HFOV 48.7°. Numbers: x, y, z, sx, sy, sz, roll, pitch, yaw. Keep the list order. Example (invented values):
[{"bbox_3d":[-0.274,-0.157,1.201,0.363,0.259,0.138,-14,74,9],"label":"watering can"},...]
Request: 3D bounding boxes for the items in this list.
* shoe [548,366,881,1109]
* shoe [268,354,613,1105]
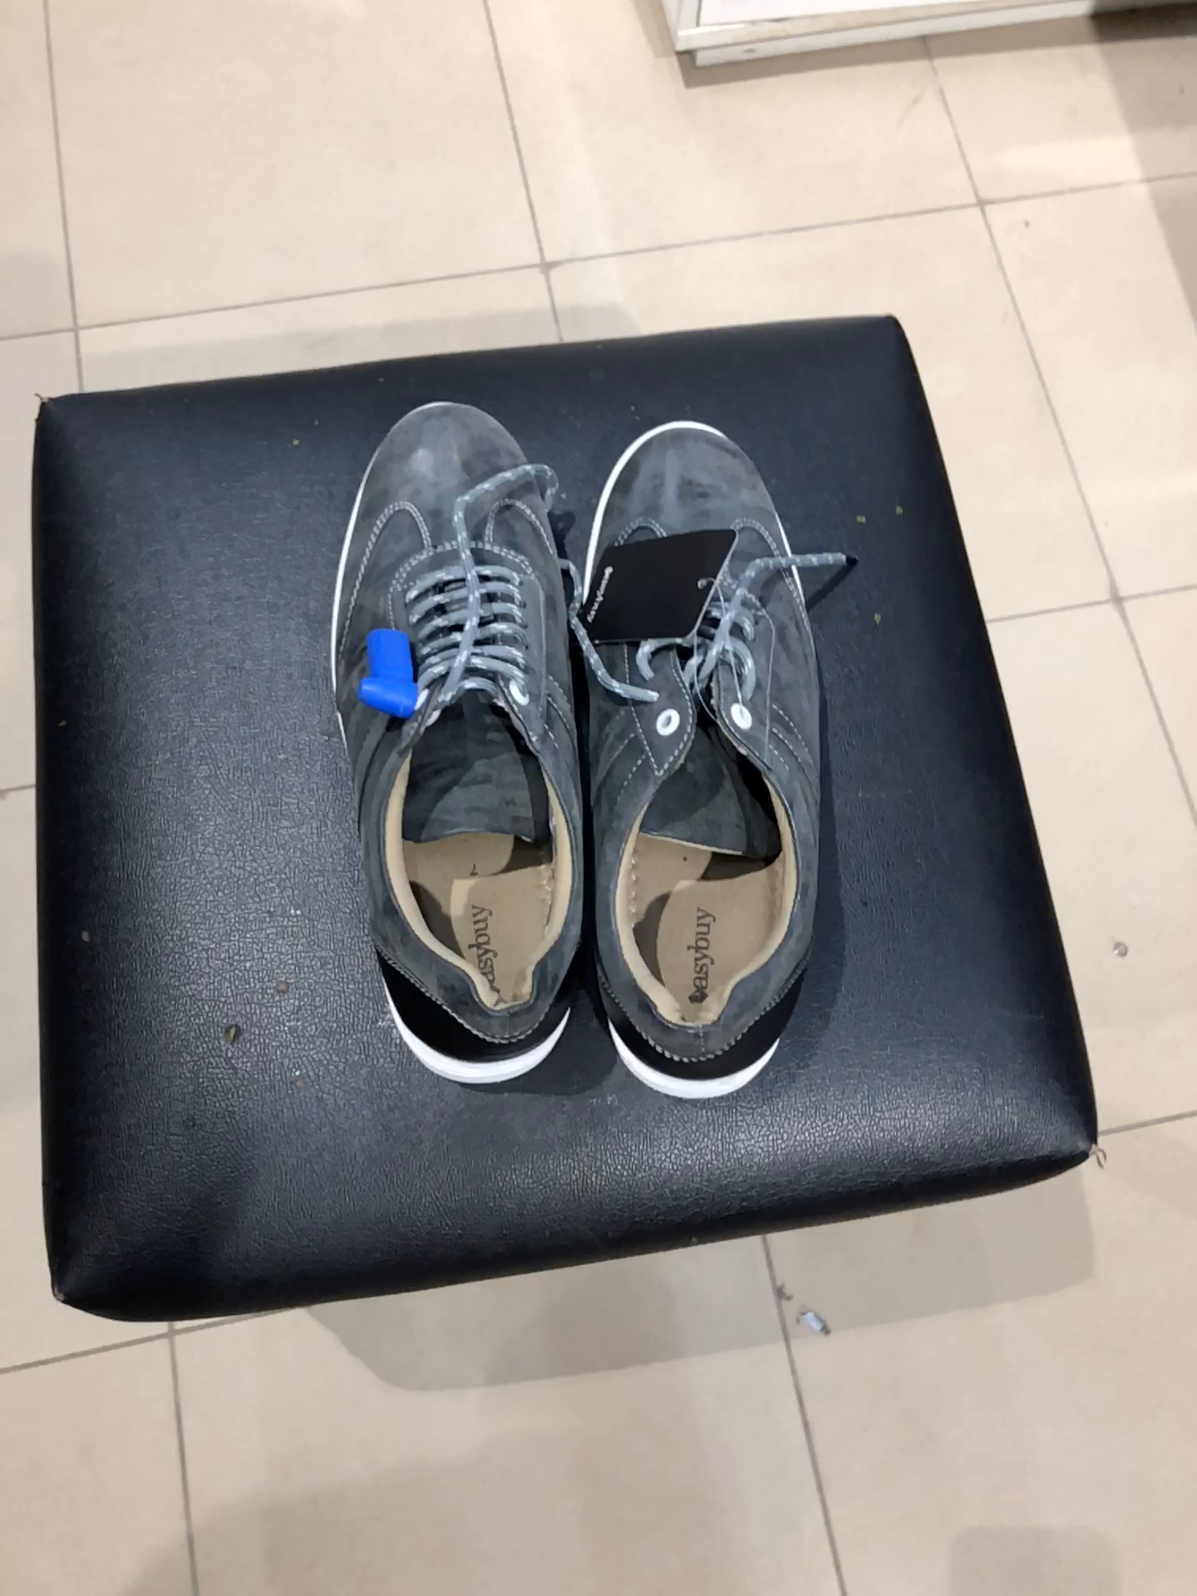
[{"bbox_3d":[0.037,-0.019,0.488,0.100,0.107,0.249,2,72,-1],"label":"shoe"},{"bbox_3d":[-0.058,-0.023,0.489,0.100,0.107,0.249,-4,72,-3],"label":"shoe"}]
